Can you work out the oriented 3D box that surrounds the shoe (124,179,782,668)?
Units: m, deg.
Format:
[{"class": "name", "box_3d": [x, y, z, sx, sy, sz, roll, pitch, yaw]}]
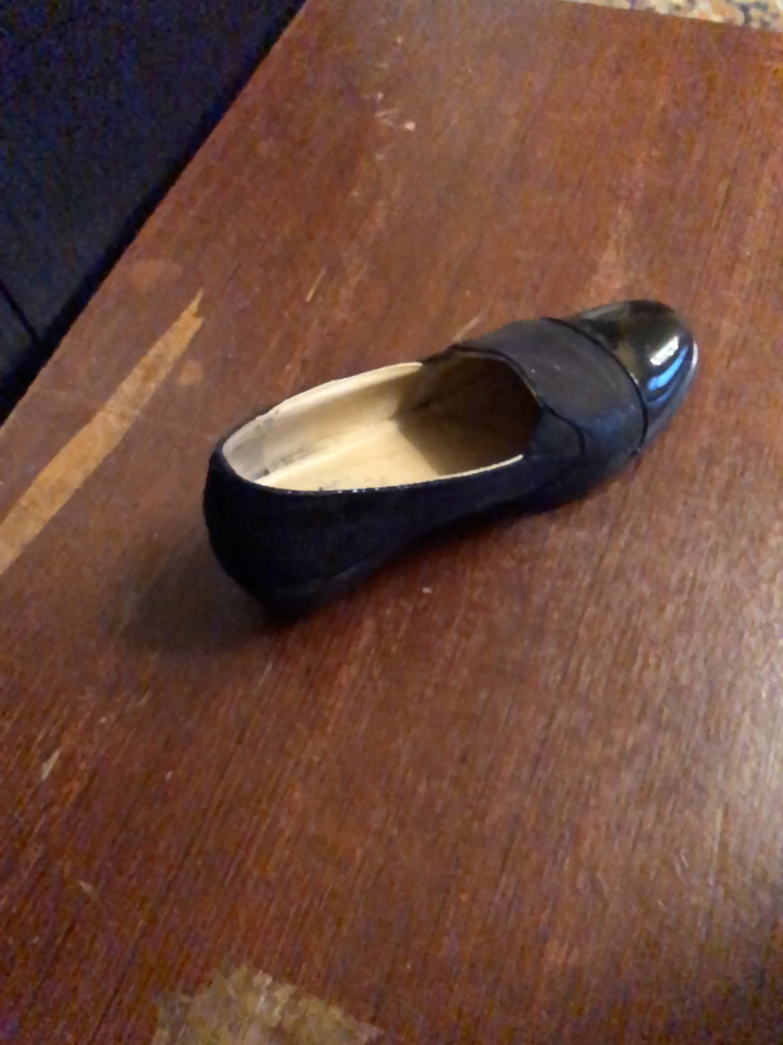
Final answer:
[{"class": "shoe", "box_3d": [0.028, -0.046, 0.356, 0.236, 0.070, 0.090, -26, 61, -15]}]
